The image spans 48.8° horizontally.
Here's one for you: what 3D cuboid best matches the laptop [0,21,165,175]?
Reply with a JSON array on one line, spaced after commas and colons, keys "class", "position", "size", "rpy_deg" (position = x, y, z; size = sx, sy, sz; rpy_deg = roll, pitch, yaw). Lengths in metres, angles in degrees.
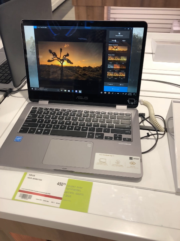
[{"class": "laptop", "position": [-0.038, -0.070, 0.451], "size": [0.319, 0.211, 0.291], "rpy_deg": [3, 42, 6]}]
